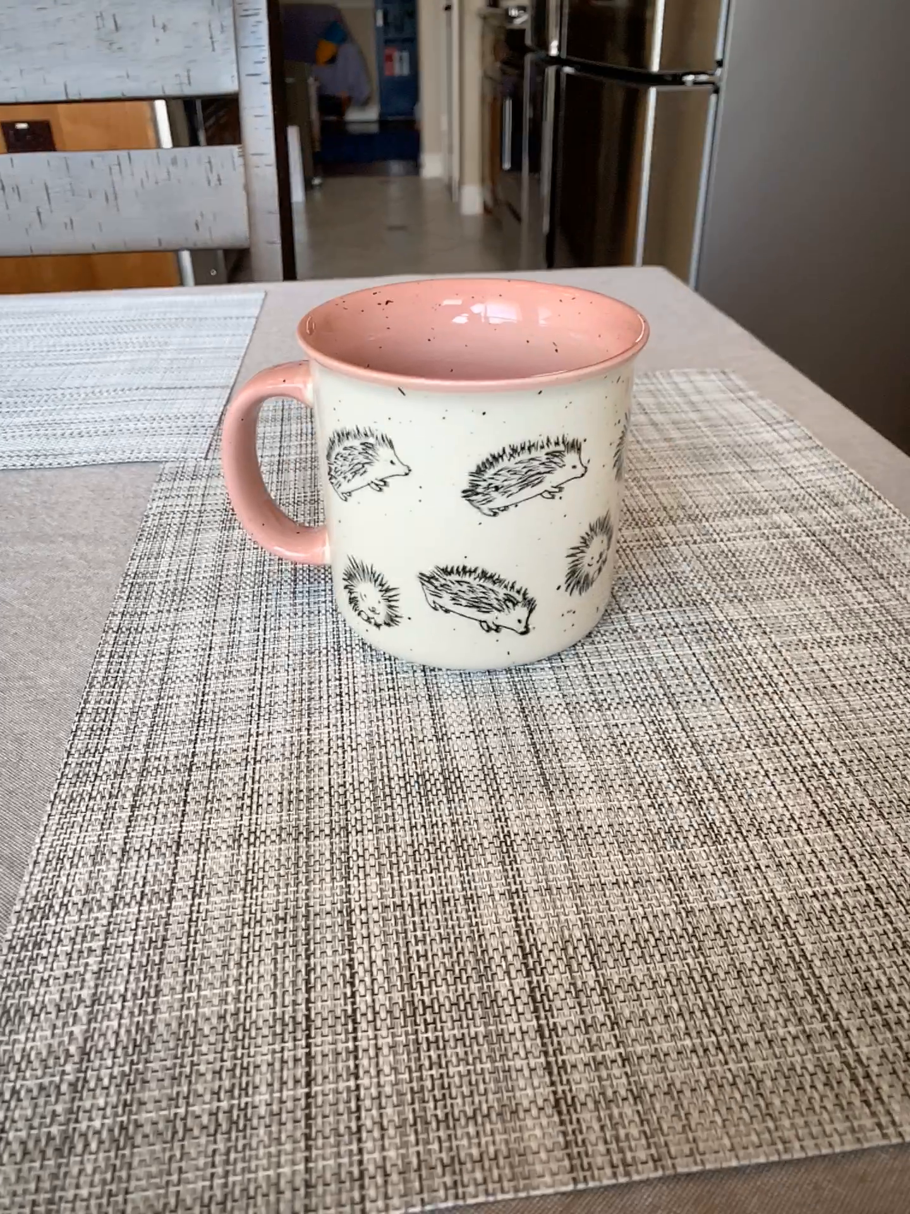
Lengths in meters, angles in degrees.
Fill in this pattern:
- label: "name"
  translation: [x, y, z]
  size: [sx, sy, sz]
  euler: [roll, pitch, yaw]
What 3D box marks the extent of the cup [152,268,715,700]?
- label: "cup"
  translation: [-0.005, -0.048, 0.330]
  size: [0.150, 0.106, 0.121]
  euler: [-1, 33, 0]
